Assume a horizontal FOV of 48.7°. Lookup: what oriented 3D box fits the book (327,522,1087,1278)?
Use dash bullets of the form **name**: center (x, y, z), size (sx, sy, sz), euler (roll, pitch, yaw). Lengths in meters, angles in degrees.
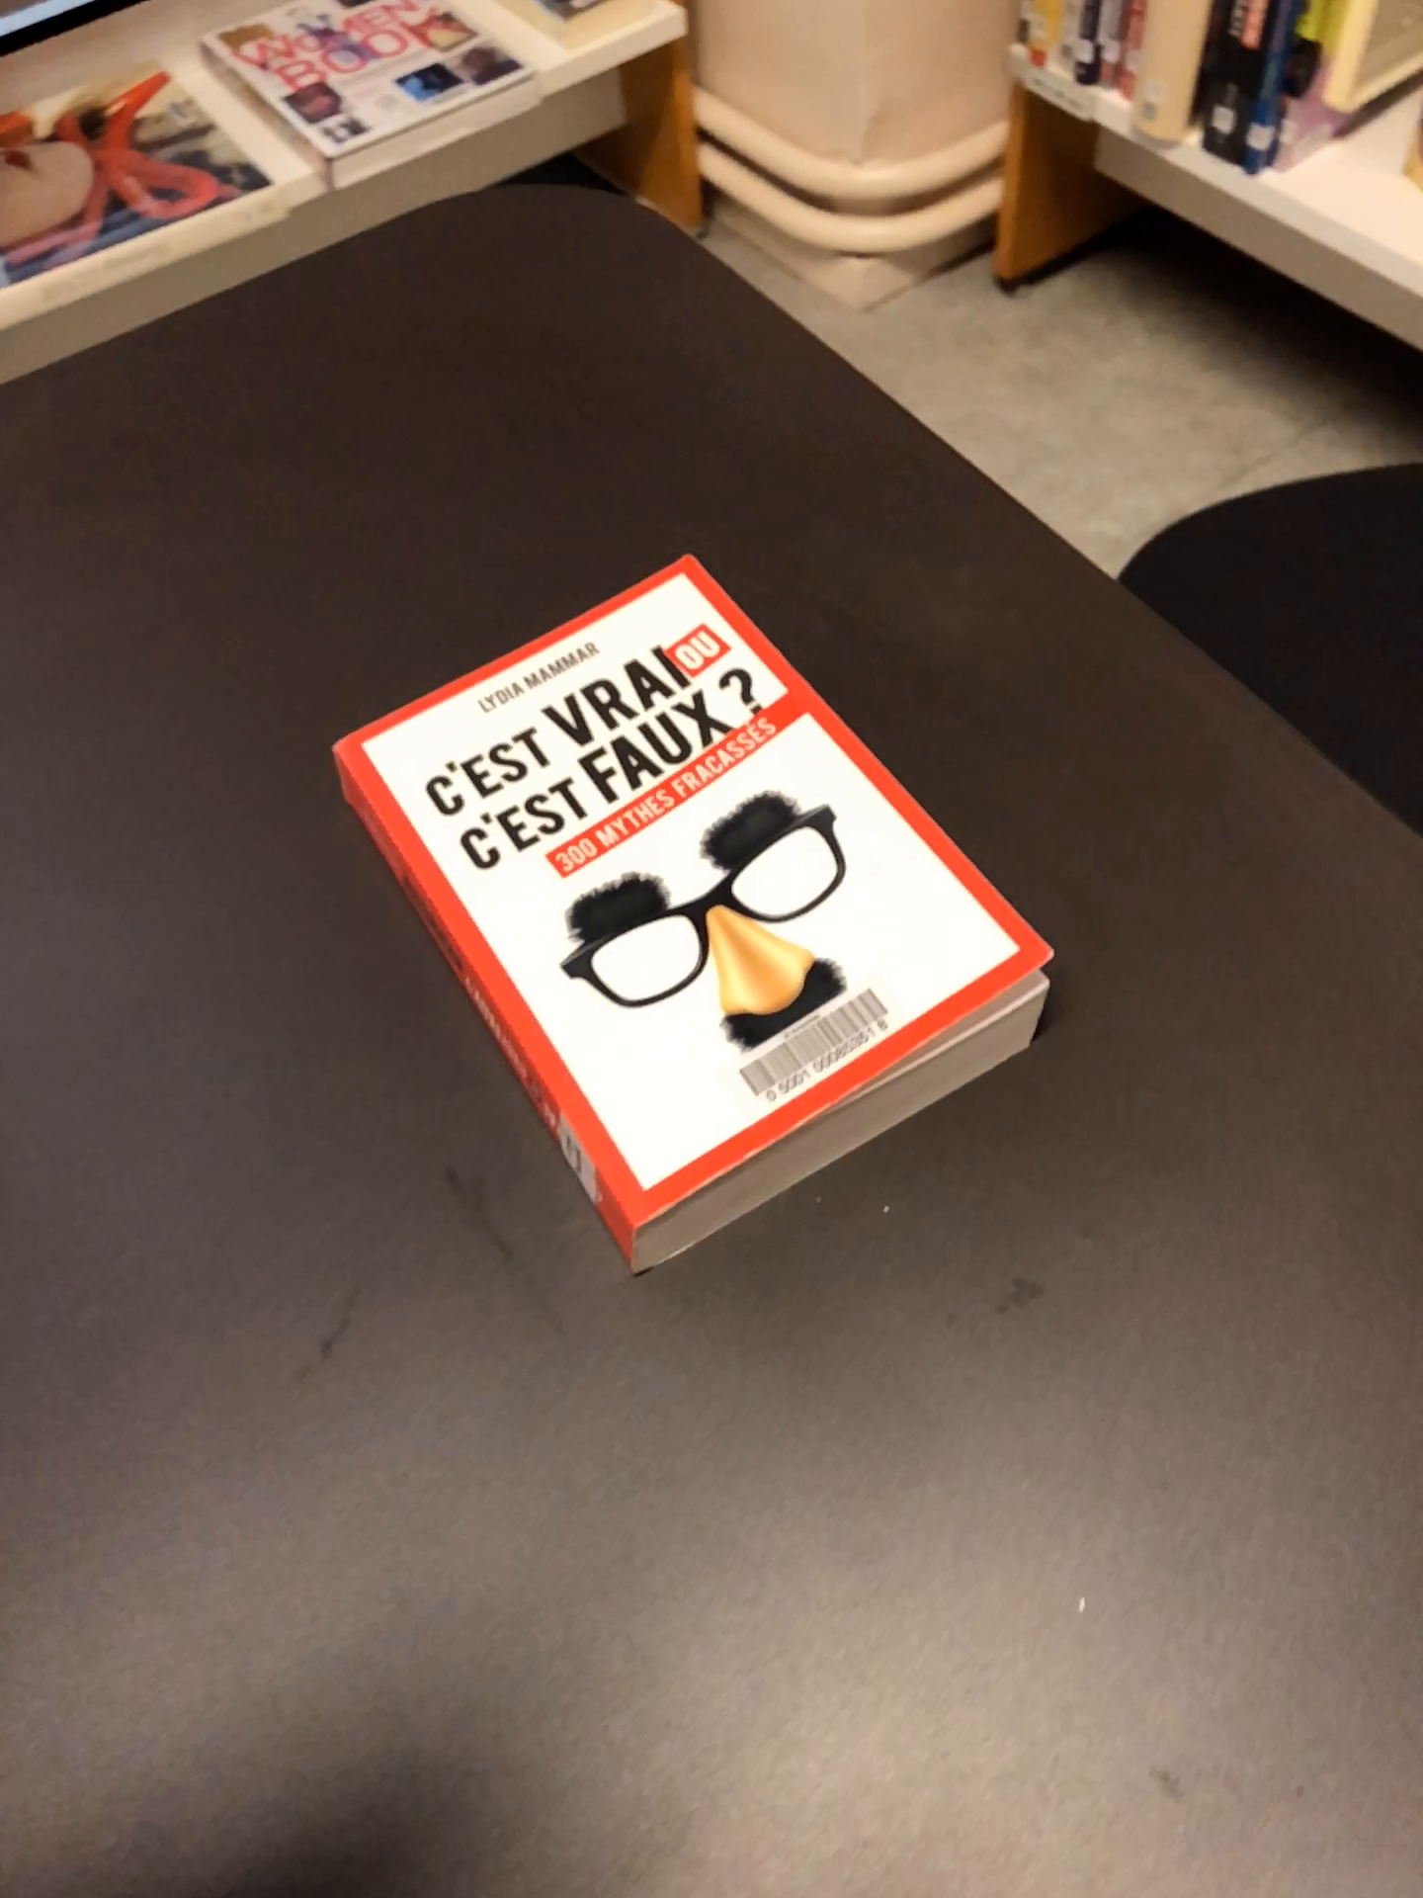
- **book**: center (-0.007, -0.024, 0.430), size (0.126, 0.034, 0.184), euler (-30, 59, -10)
